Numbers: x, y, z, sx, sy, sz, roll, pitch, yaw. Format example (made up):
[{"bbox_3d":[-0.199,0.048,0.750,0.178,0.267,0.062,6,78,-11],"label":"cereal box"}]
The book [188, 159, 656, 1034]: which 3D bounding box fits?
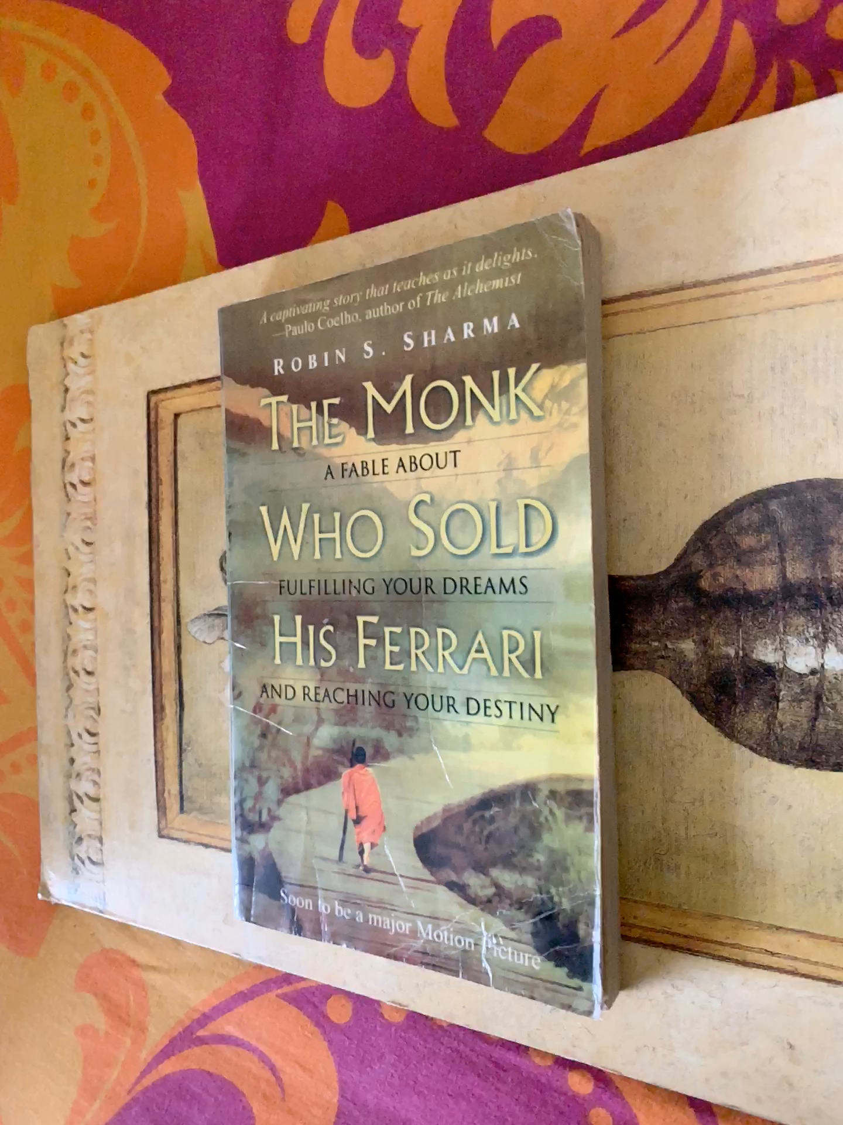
[{"bbox_3d":[-0.006,0.009,0.248,0.131,0.030,0.200,-2,89,32],"label":"book"}]
